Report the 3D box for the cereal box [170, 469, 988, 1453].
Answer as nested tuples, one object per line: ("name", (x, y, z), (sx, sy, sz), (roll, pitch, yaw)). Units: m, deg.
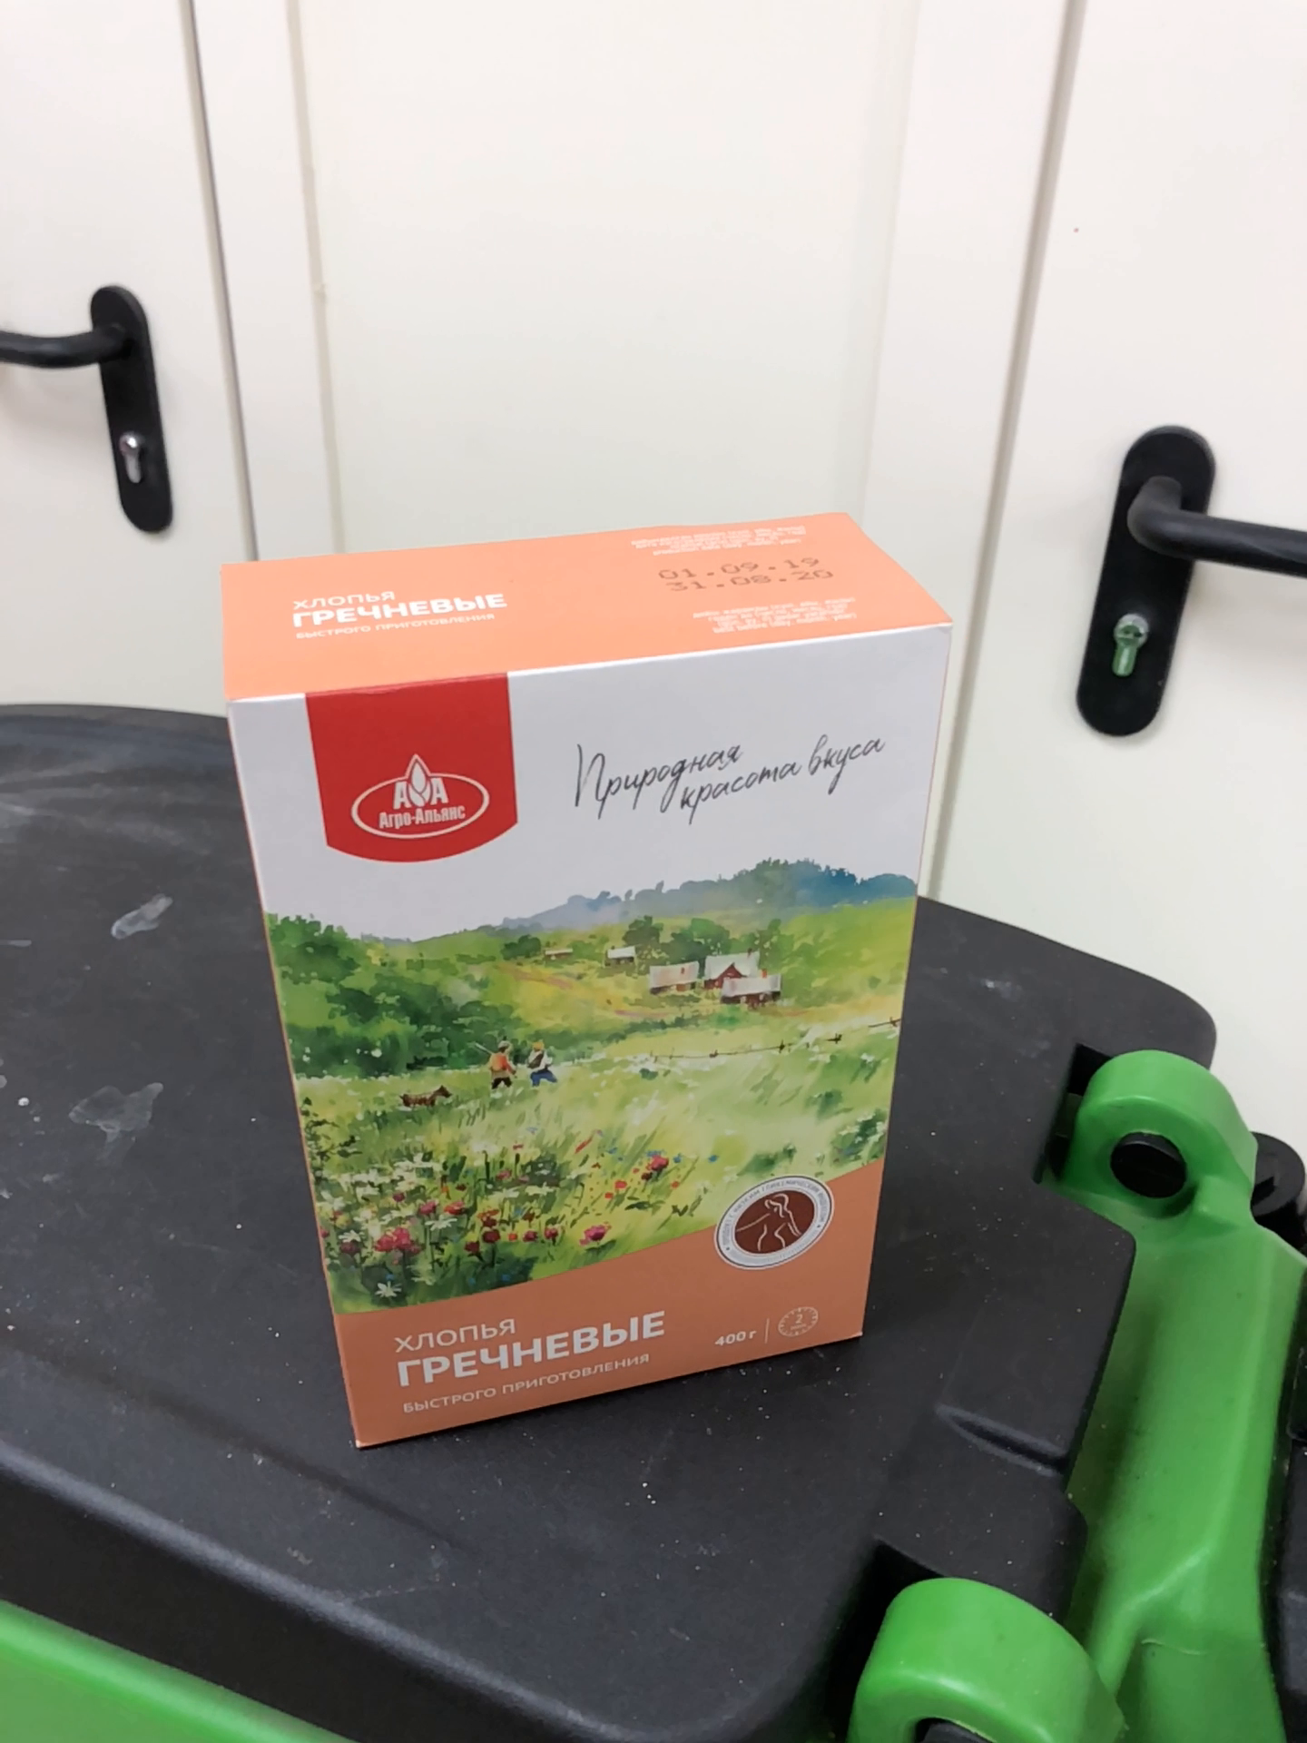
("cereal box", (-0.018, 0.027, 0.324), (0.140, 0.209, 0.060), (-8, 36, -13))
